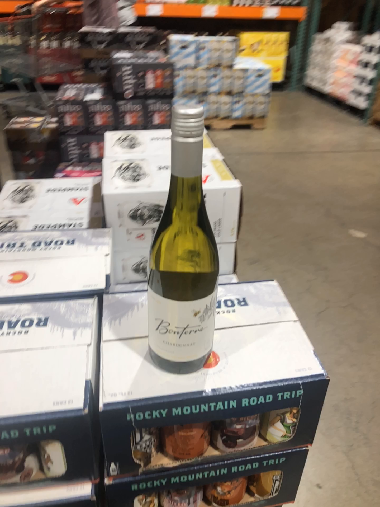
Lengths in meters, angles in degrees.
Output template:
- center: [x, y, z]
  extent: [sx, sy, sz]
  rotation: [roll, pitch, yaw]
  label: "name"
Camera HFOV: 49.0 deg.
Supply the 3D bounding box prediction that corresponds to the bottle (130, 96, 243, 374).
- center: [-0.006, -0.007, 0.439]
  extent: [0.090, 0.284, 0.084]
  rotation: [1, 31, -1]
  label: "bottle"
